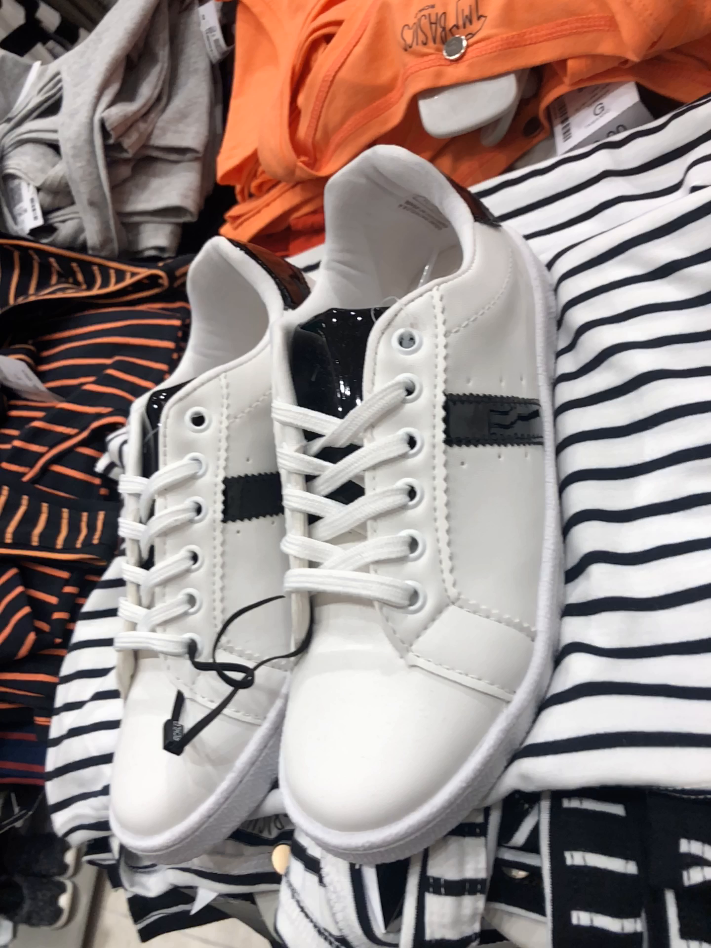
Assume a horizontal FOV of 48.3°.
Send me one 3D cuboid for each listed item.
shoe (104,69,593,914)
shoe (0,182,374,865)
[{"bbox_3d":[0.012,0.003,0.235,0.090,0.080,0.210,-9,62,33],"label":"shoe"},{"bbox_3d":[-0.063,0.016,0.284,0.080,0.080,0.210,-6,63,35],"label":"shoe"}]
